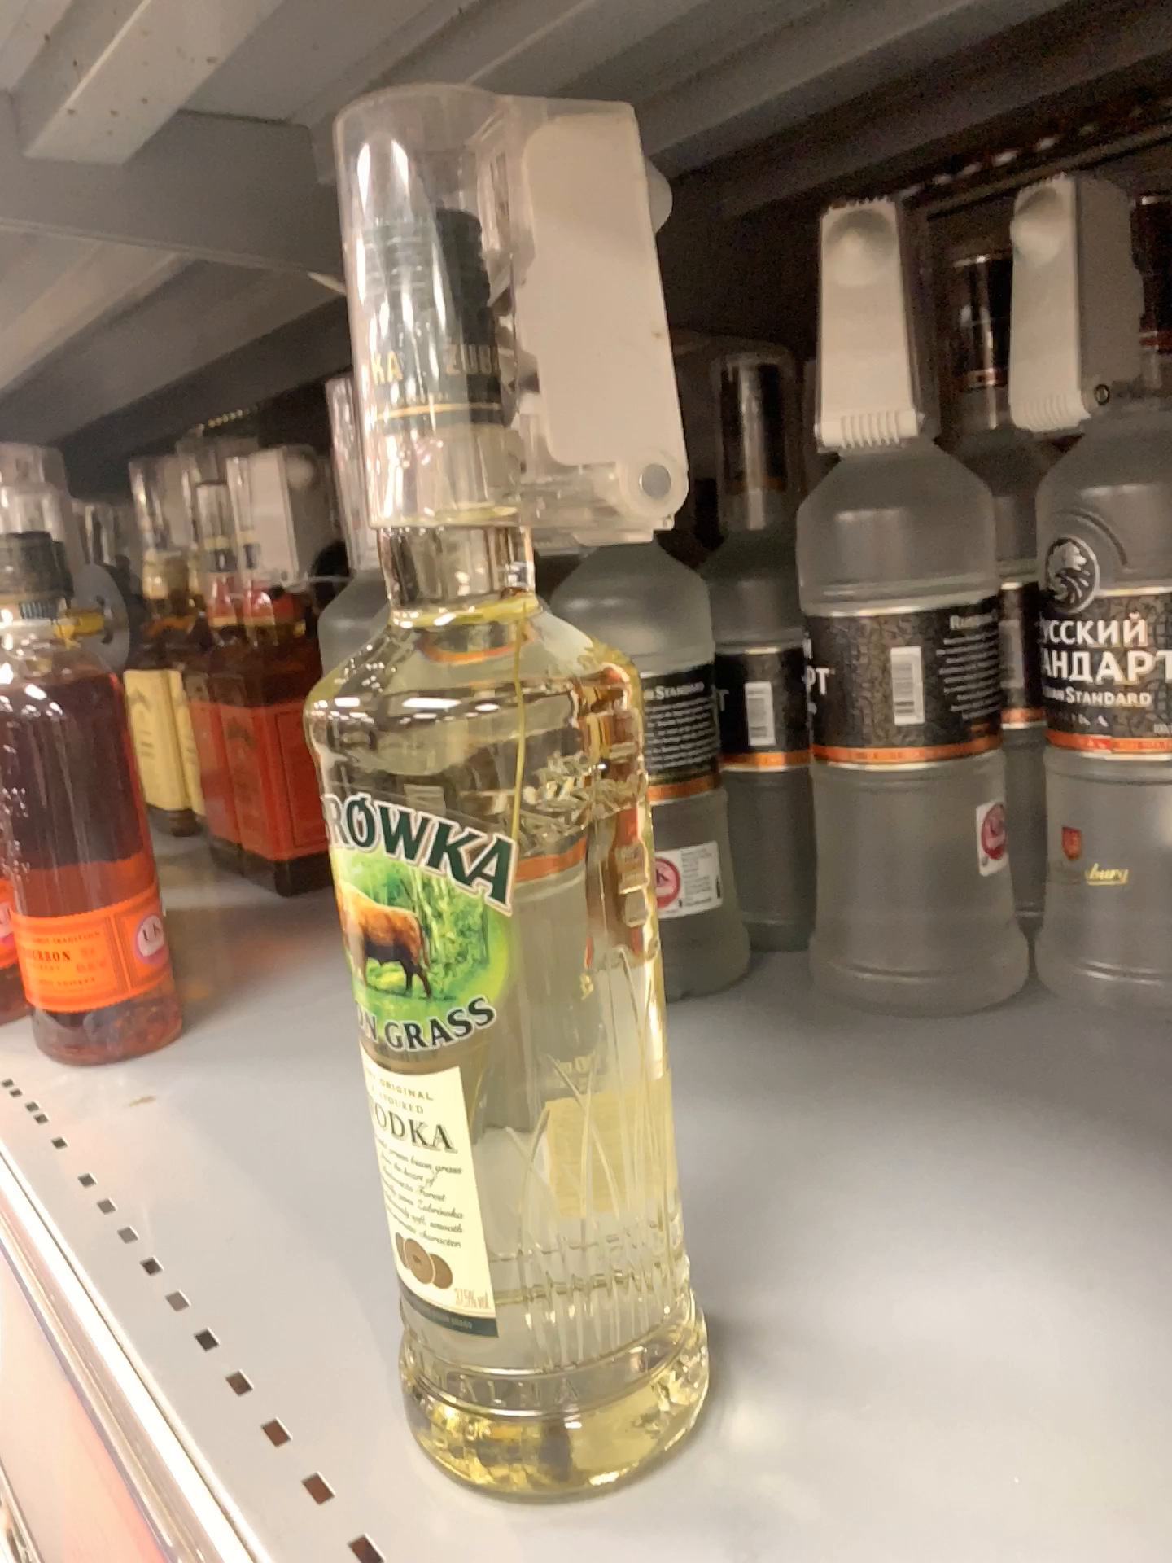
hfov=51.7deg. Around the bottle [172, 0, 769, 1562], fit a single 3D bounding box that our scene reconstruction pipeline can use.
[{"bbox_3d":[-0.022,0.003,0.272,0.069,0.304,0.076,-13,12,-37],"label":"bottle"}]
